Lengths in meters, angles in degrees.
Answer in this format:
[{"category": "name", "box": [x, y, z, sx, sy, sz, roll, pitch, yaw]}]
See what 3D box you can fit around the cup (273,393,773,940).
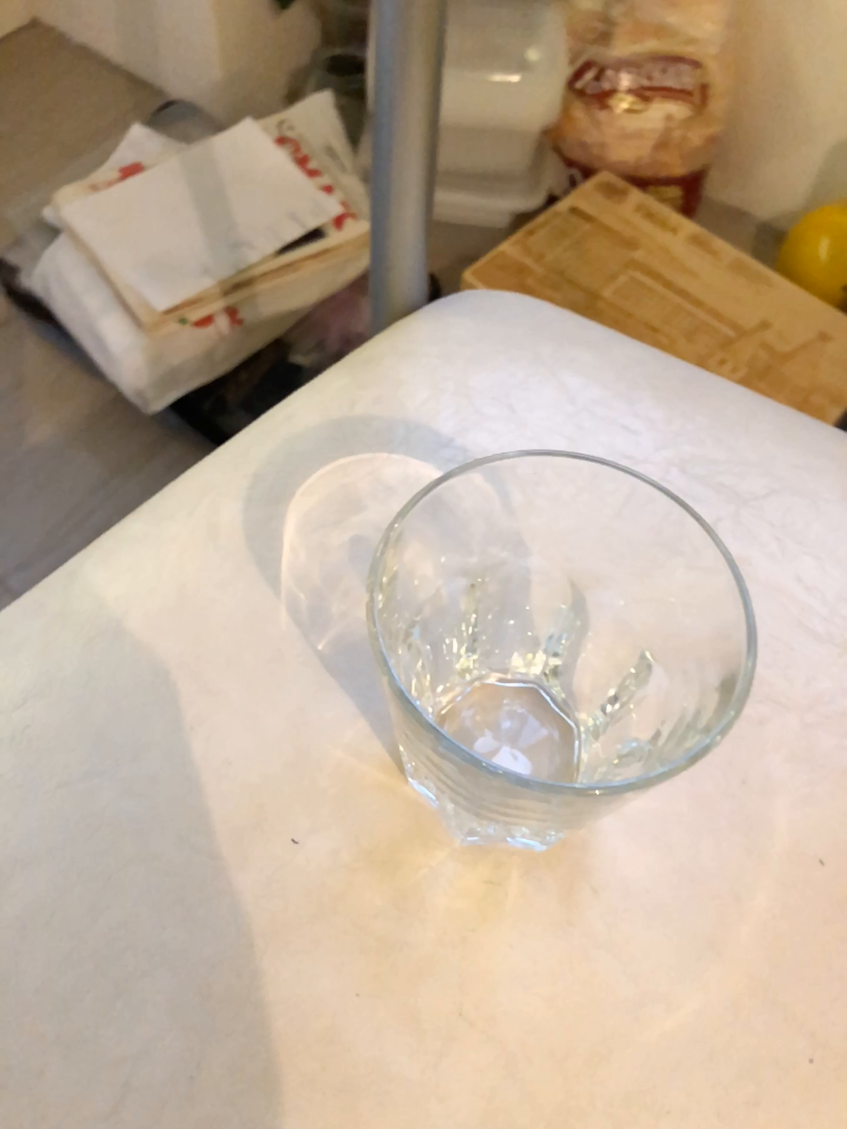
[{"category": "cup", "box": [0.022, 0.031, 0.242, 0.080, 0.100, 0.080, 1, 60, -2]}]
